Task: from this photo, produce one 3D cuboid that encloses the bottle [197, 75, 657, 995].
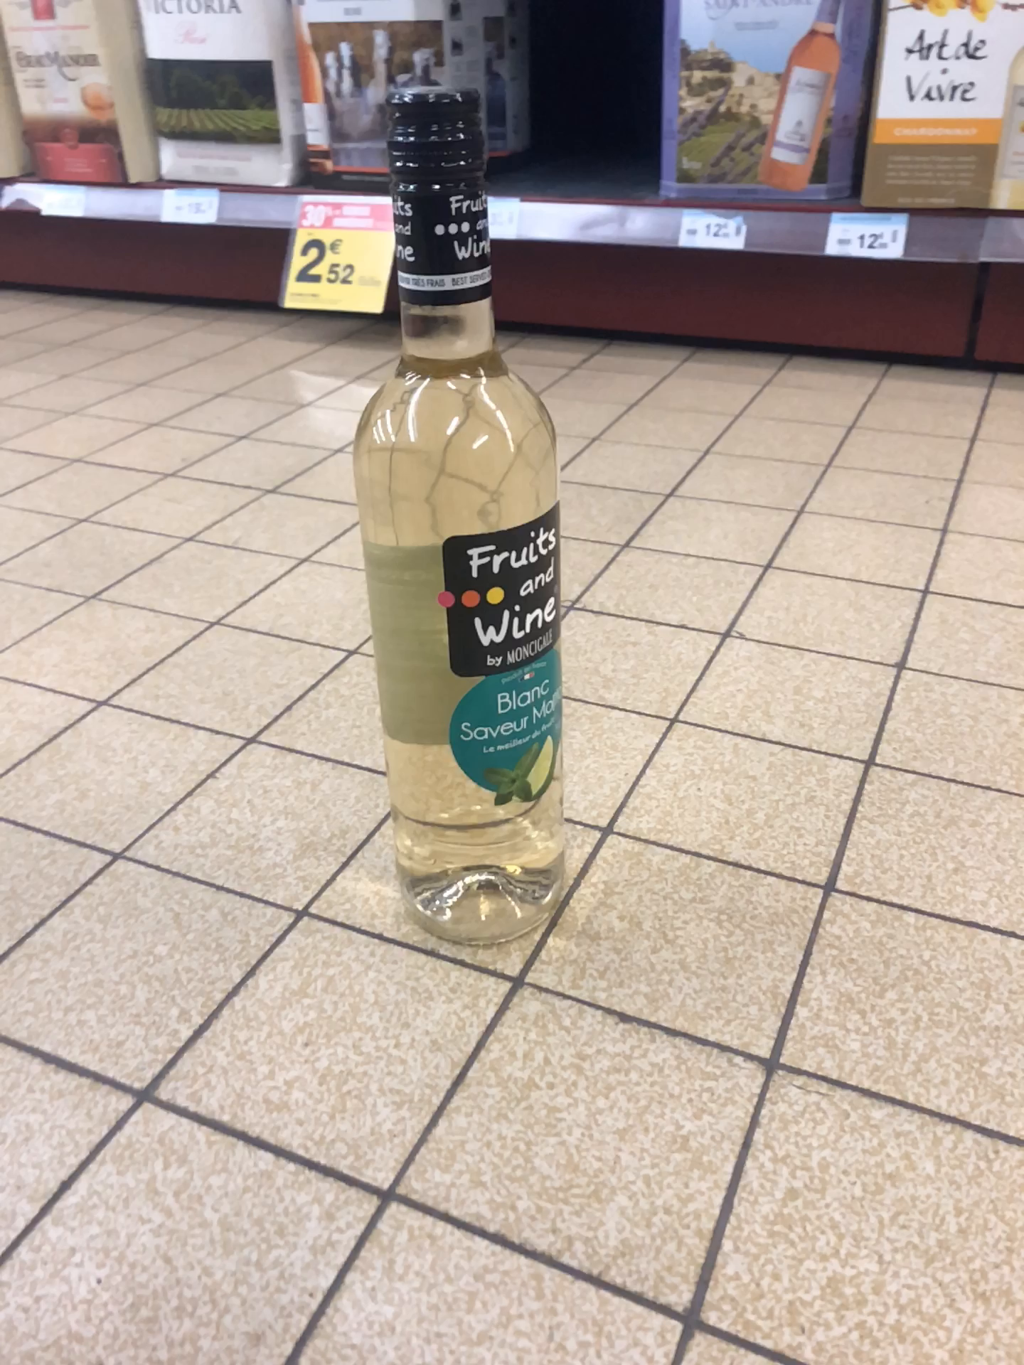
[{"bbox_3d":[-0.020,-0.046,0.404,0.090,0.298,0.101,25,39,38],"label":"bottle"}]
